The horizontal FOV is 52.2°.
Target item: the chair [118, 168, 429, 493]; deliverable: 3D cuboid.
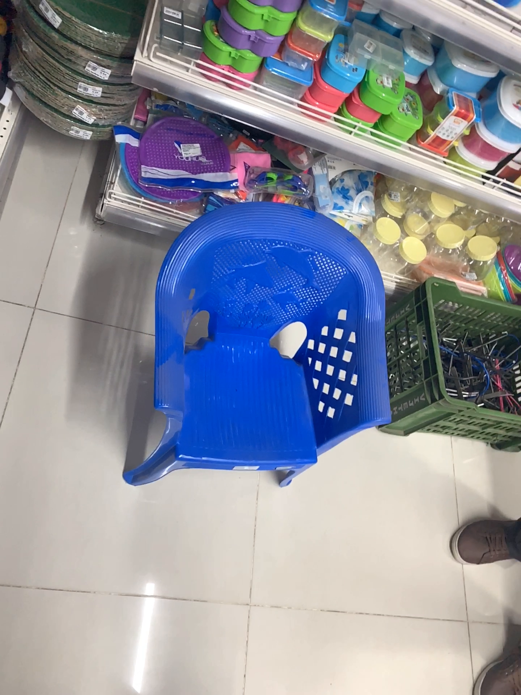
[{"bbox_3d":[-0.025,0.022,1.059,0.420,0.469,0.450,6,65,-21],"label":"chair"}]
